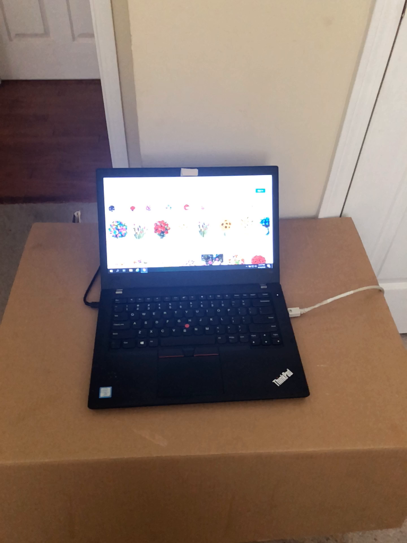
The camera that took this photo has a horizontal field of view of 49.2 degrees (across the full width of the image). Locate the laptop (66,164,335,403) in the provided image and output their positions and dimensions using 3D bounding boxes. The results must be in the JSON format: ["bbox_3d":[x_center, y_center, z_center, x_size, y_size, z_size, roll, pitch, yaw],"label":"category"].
[{"bbox_3d":[-0.016,-0.004,0.714,0.322,0.158,0.366,-2,45,-4],"label":"laptop"}]
